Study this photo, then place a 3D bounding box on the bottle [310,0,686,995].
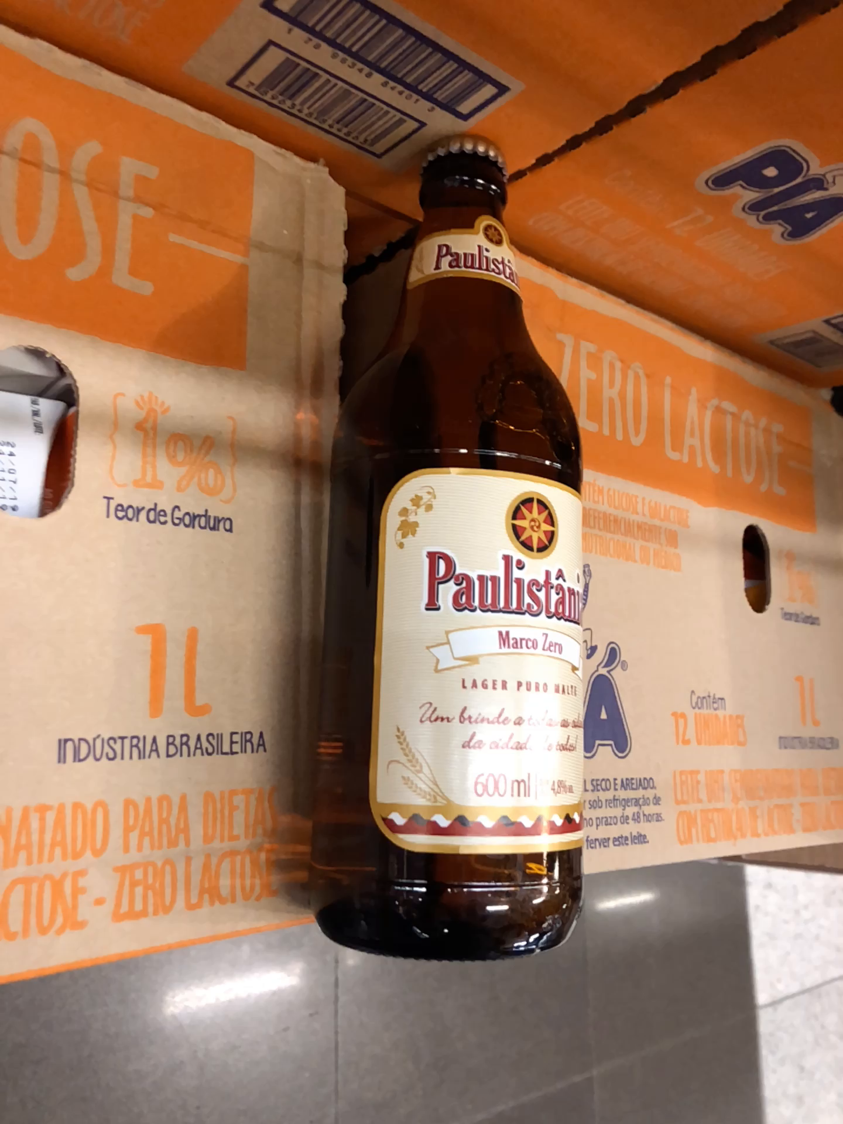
[{"bbox_3d":[0.020,-0.028,0.254,0.080,0.050,0.250,10,75,-39],"label":"bottle"}]
